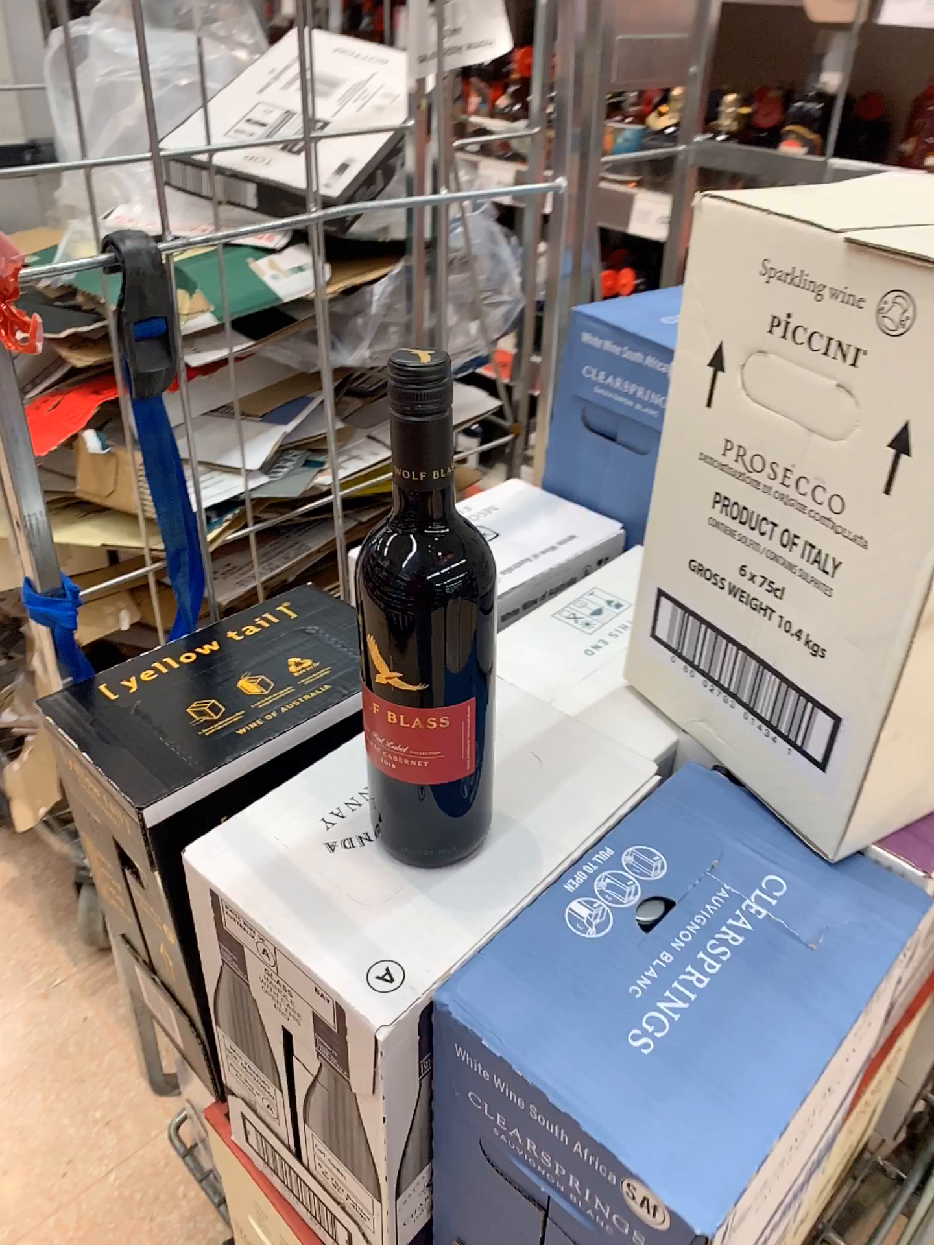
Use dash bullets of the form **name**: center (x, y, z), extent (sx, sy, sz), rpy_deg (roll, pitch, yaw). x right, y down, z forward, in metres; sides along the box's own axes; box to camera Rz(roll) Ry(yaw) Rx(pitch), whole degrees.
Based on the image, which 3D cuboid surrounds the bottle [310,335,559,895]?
- **bottle**: center (-0.019, 0.005, 0.492), extent (0.080, 0.270, 0.076), rpy_deg (2, 33, -1)
